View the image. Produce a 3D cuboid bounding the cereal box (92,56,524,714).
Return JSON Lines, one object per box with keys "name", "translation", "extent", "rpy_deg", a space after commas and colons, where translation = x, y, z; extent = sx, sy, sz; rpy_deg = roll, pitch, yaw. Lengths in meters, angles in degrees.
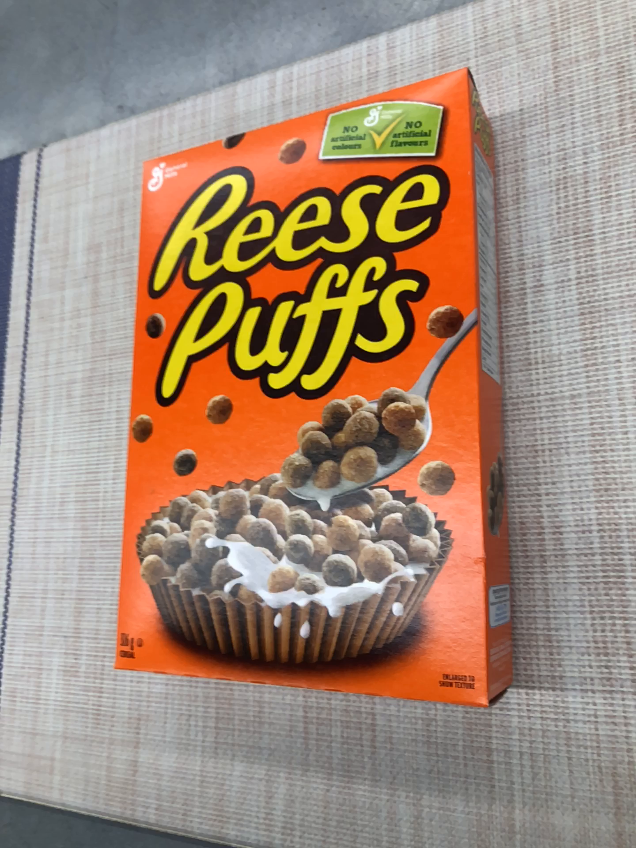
{"name": "cereal box", "translation": [-0.009, -0.016, 0.360], "extent": [0.200, 0.060, 0.280], "rpy_deg": [-4, 80, 23]}
